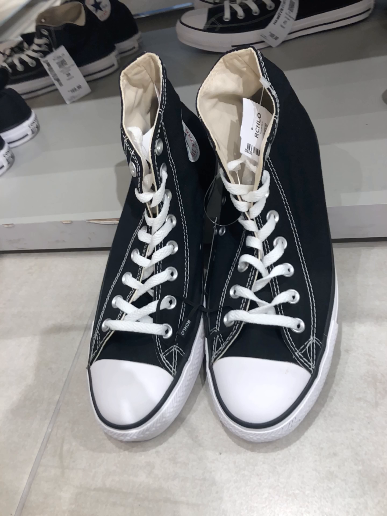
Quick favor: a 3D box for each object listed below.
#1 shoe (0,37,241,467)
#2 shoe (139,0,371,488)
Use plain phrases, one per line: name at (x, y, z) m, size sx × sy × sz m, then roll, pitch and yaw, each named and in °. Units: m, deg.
shoe at (-0.042, -0.007, 0.374) m, size 0.120 × 0.139 × 0.311 m, roll 1°, pitch 72°, yaw 18°
shoe at (0.058, -0.025, 0.336) m, size 0.120 × 0.139 × 0.331 m, roll -1°, pitch 71°, yaw 16°
